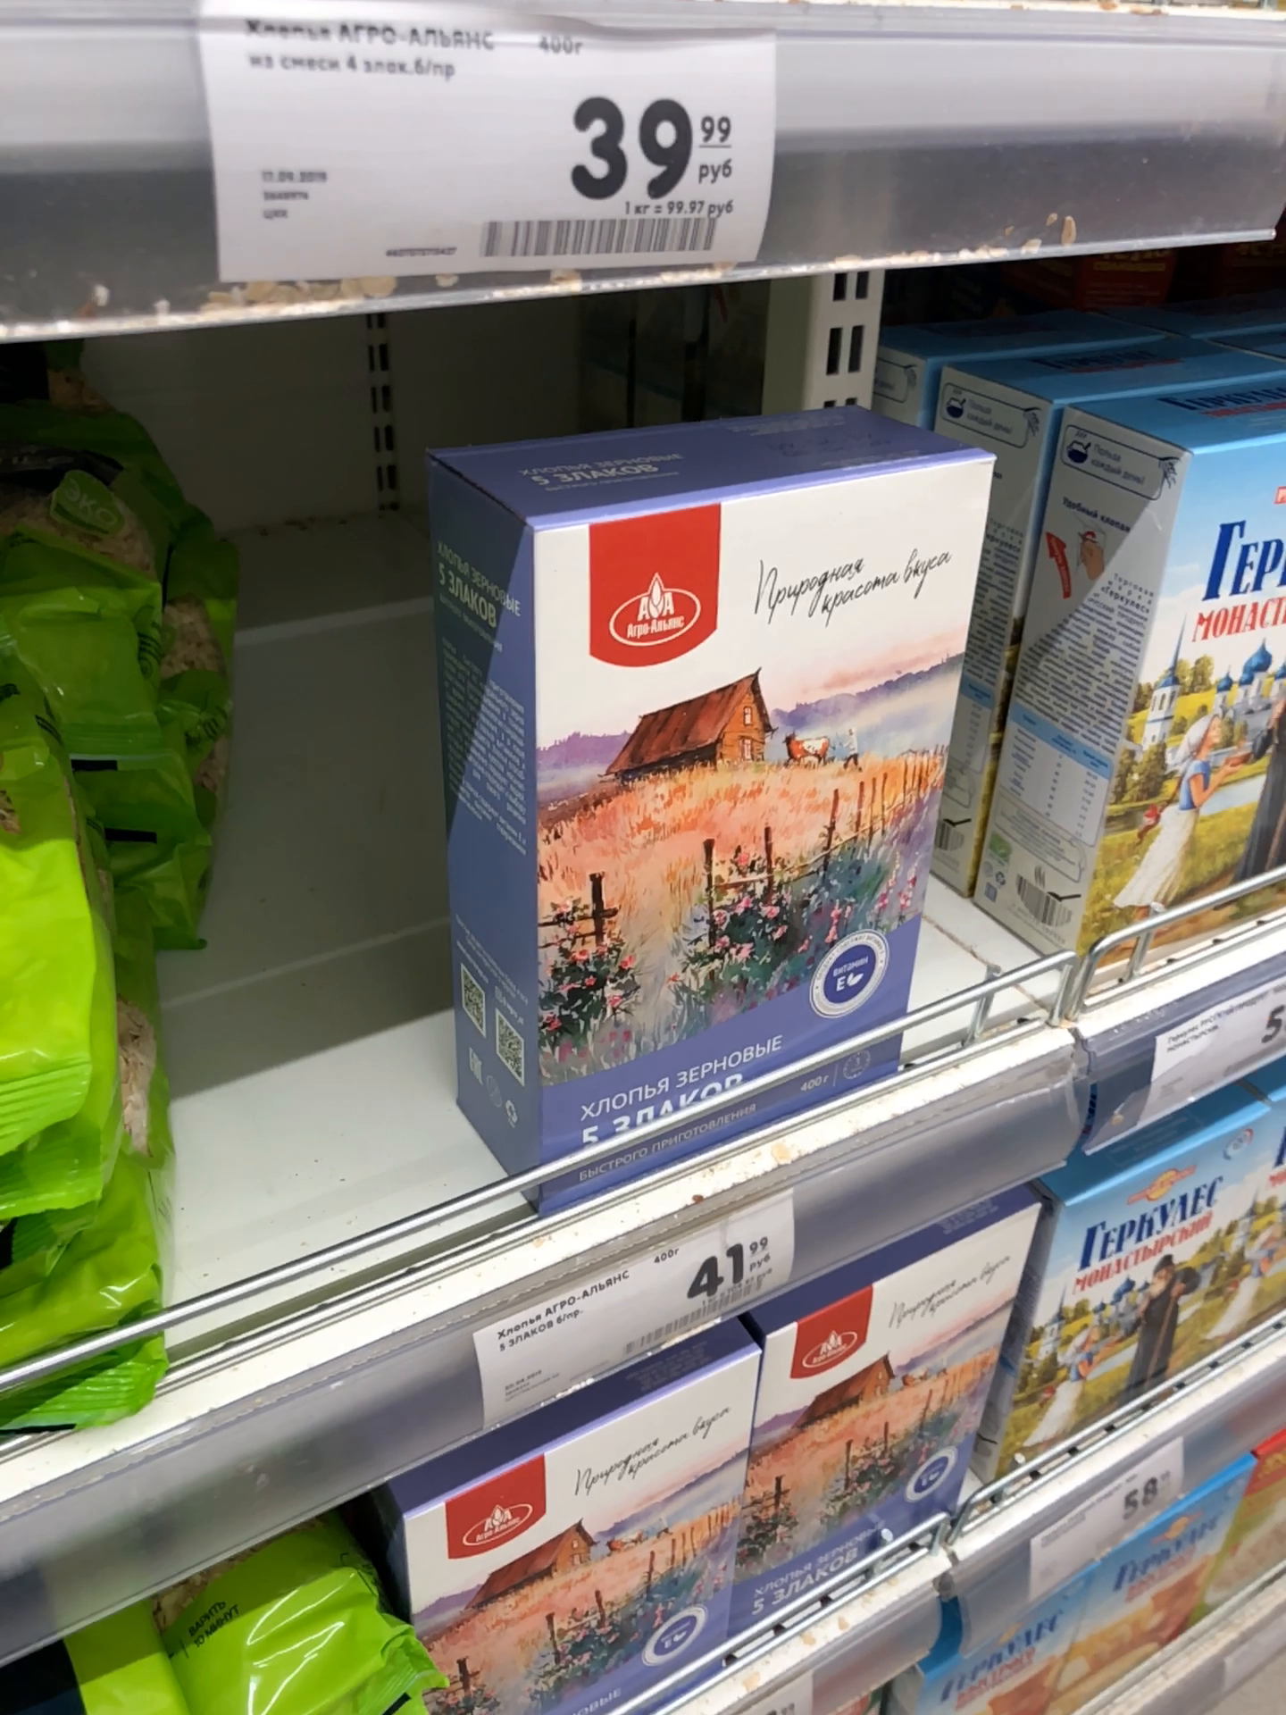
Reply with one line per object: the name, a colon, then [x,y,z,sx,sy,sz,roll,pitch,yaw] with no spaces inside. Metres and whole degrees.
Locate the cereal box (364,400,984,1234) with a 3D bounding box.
cereal box: [0.007,-0.012,0.397,0.140,0.199,0.060,-16,36,-27]
